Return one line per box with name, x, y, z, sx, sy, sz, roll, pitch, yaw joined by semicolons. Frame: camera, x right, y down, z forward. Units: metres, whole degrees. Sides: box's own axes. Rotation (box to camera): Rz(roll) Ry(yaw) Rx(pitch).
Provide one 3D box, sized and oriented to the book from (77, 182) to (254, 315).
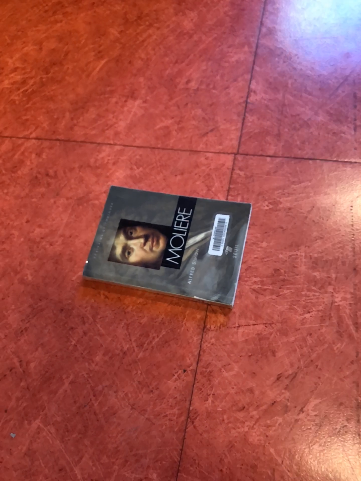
book;-0.016;0.003;0.469;0.183;0.015;0.134;9;70;14
